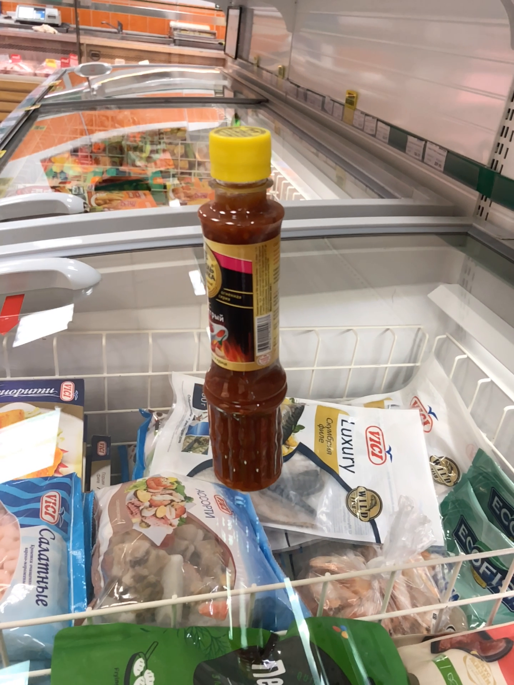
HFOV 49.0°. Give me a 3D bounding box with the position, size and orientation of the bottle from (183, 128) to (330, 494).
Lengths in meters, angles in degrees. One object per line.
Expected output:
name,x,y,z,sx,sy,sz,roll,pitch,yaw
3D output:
bottle,-0.006,-0.012,0.322,0.060,0.199,0.060,1,29,-1
